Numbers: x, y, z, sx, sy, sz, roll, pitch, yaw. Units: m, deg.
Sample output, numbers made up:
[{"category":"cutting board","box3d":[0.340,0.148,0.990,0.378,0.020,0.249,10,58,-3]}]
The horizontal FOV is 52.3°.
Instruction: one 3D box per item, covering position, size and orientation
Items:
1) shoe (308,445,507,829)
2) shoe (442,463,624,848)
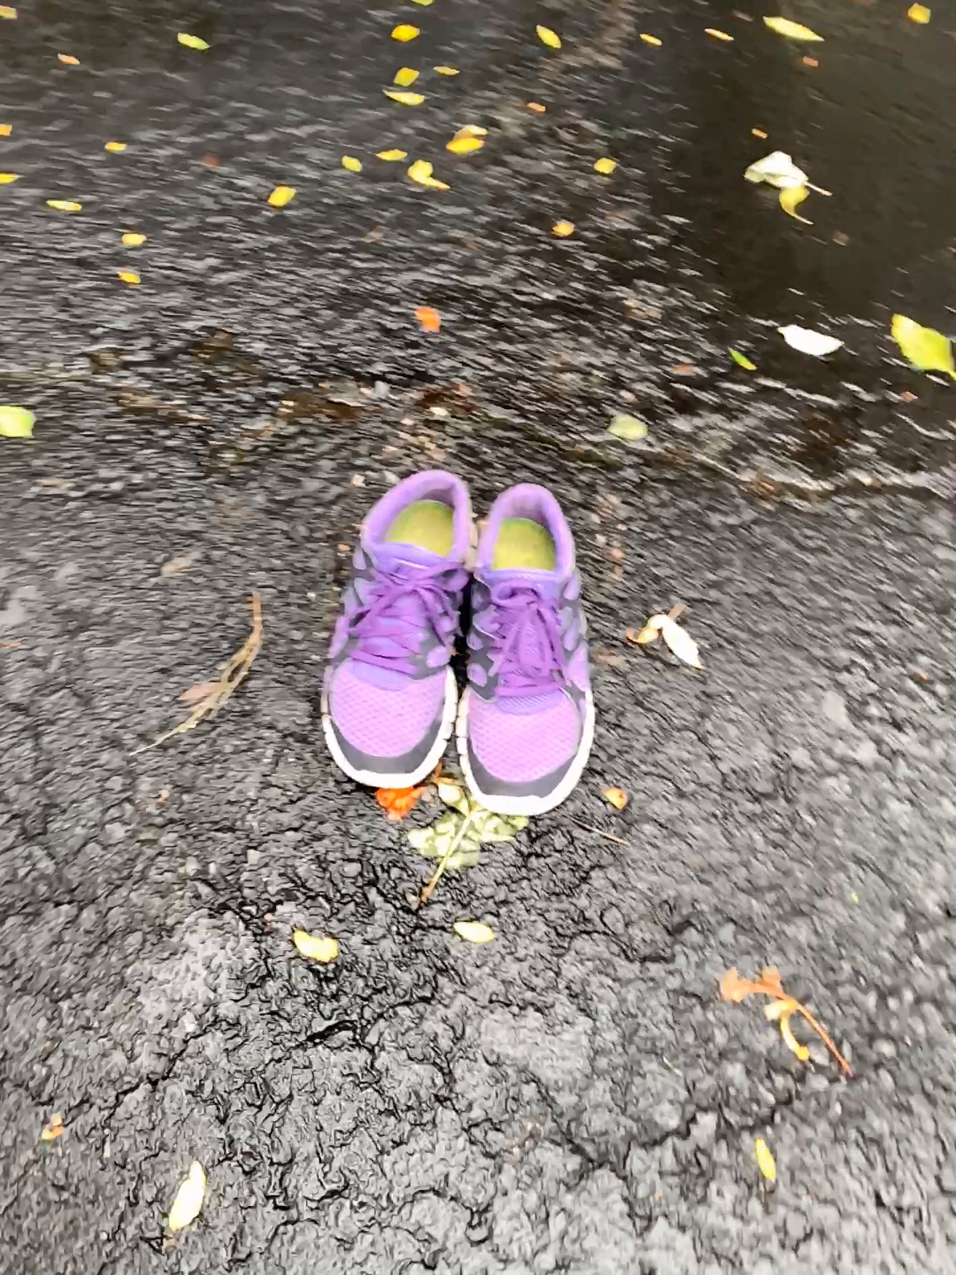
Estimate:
[{"category":"shoe","box3d":[-0.053,-0.004,0.822,0.110,0.090,0.301,9,66,0]},{"category":"shoe","box3d":[0.047,0.014,0.831,0.110,0.100,0.301,9,70,0]}]
